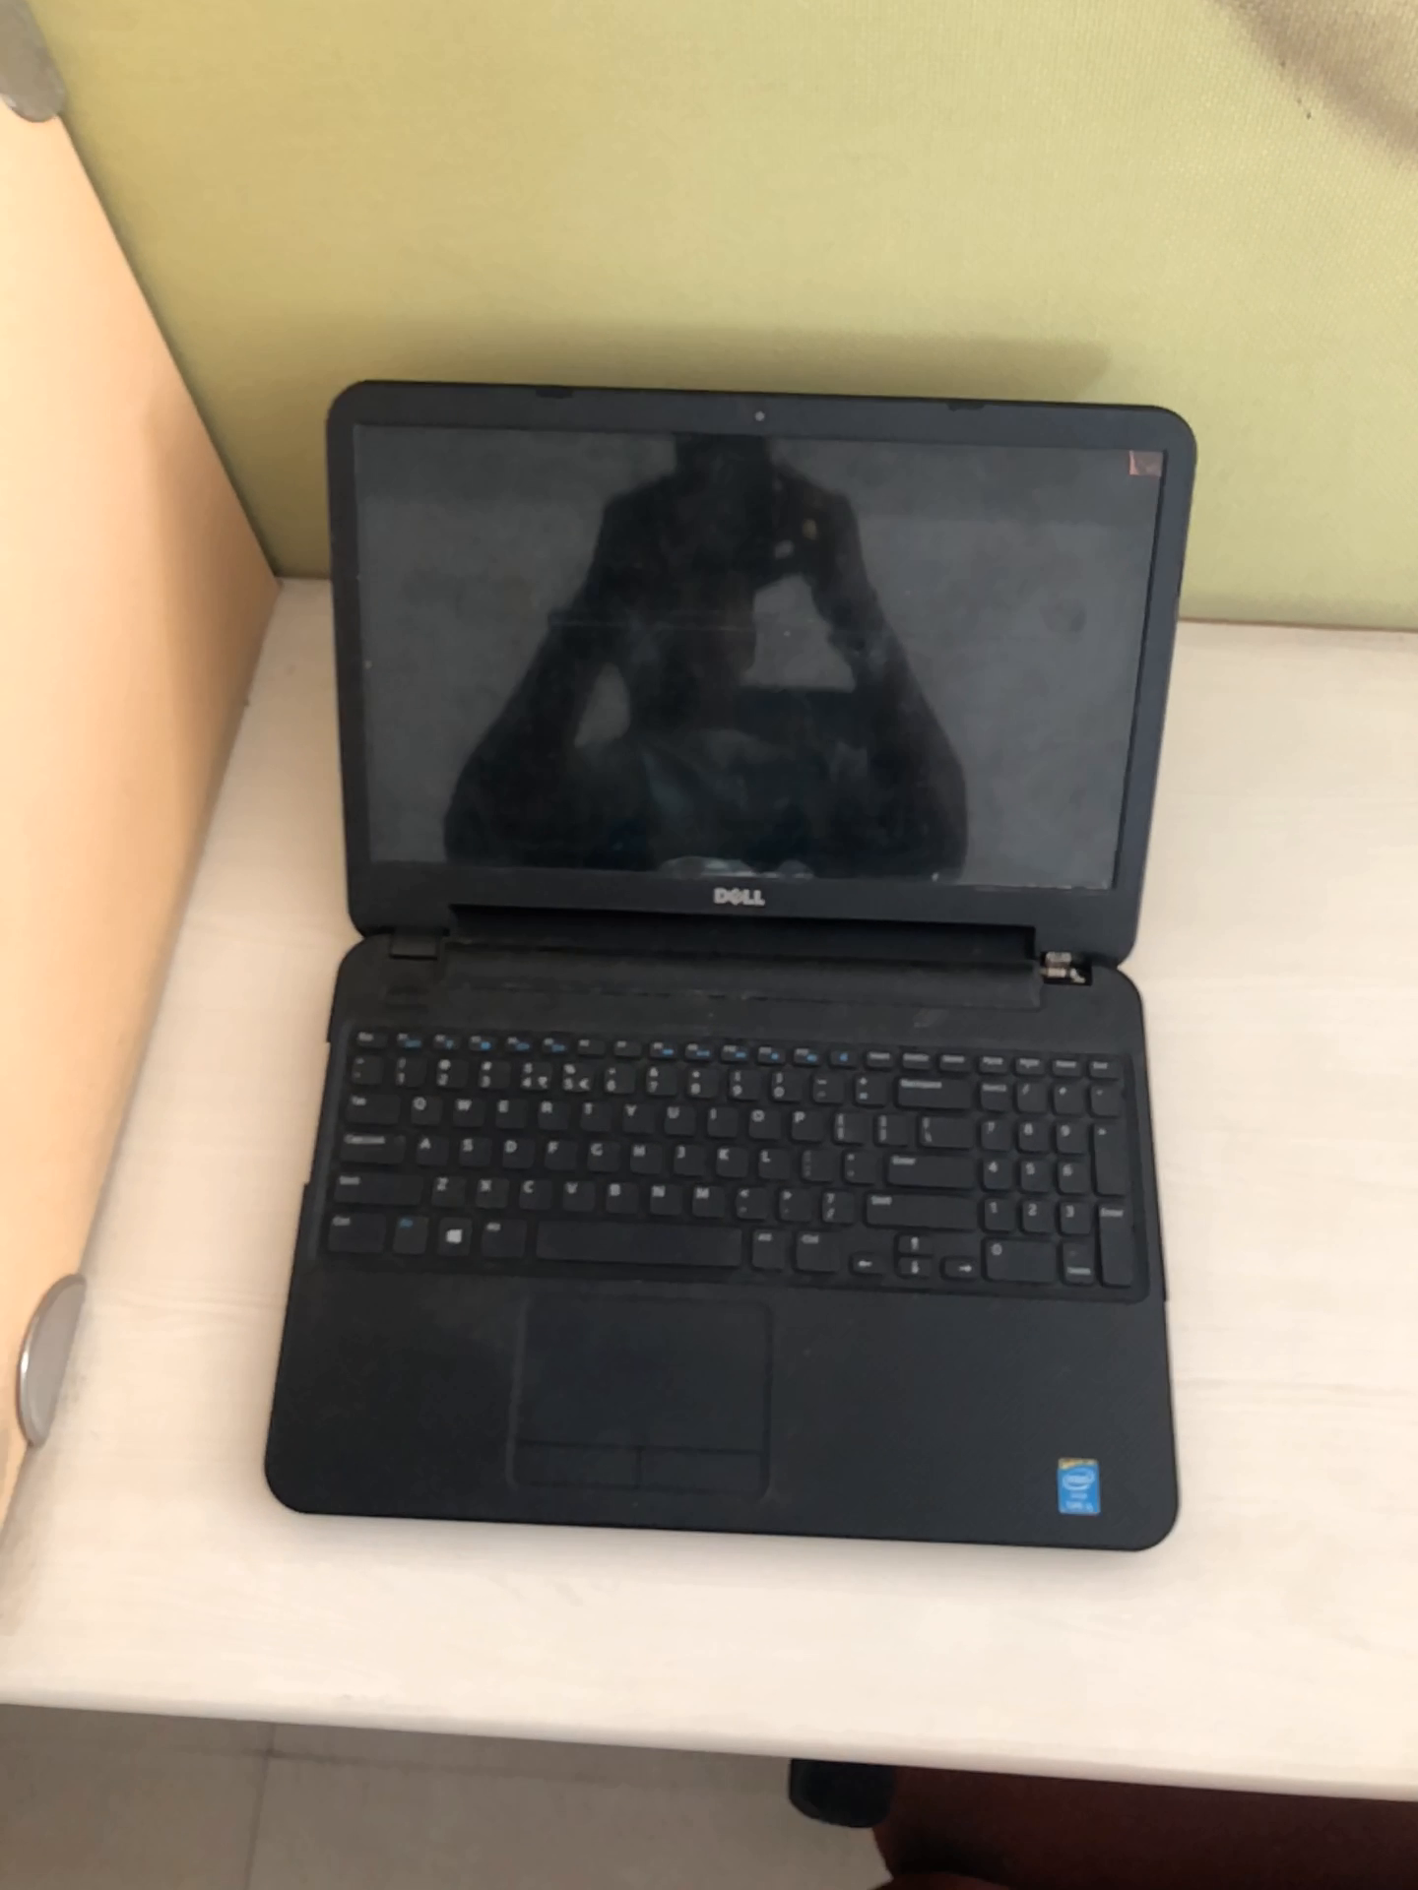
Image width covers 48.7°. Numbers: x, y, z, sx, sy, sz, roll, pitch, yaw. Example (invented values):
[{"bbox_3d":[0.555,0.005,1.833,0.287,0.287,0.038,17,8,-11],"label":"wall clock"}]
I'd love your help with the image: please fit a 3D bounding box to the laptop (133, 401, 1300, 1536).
[{"bbox_3d":[0.012,0.003,0.644,0.356,0.166,0.425,2,65,1],"label":"laptop"}]
